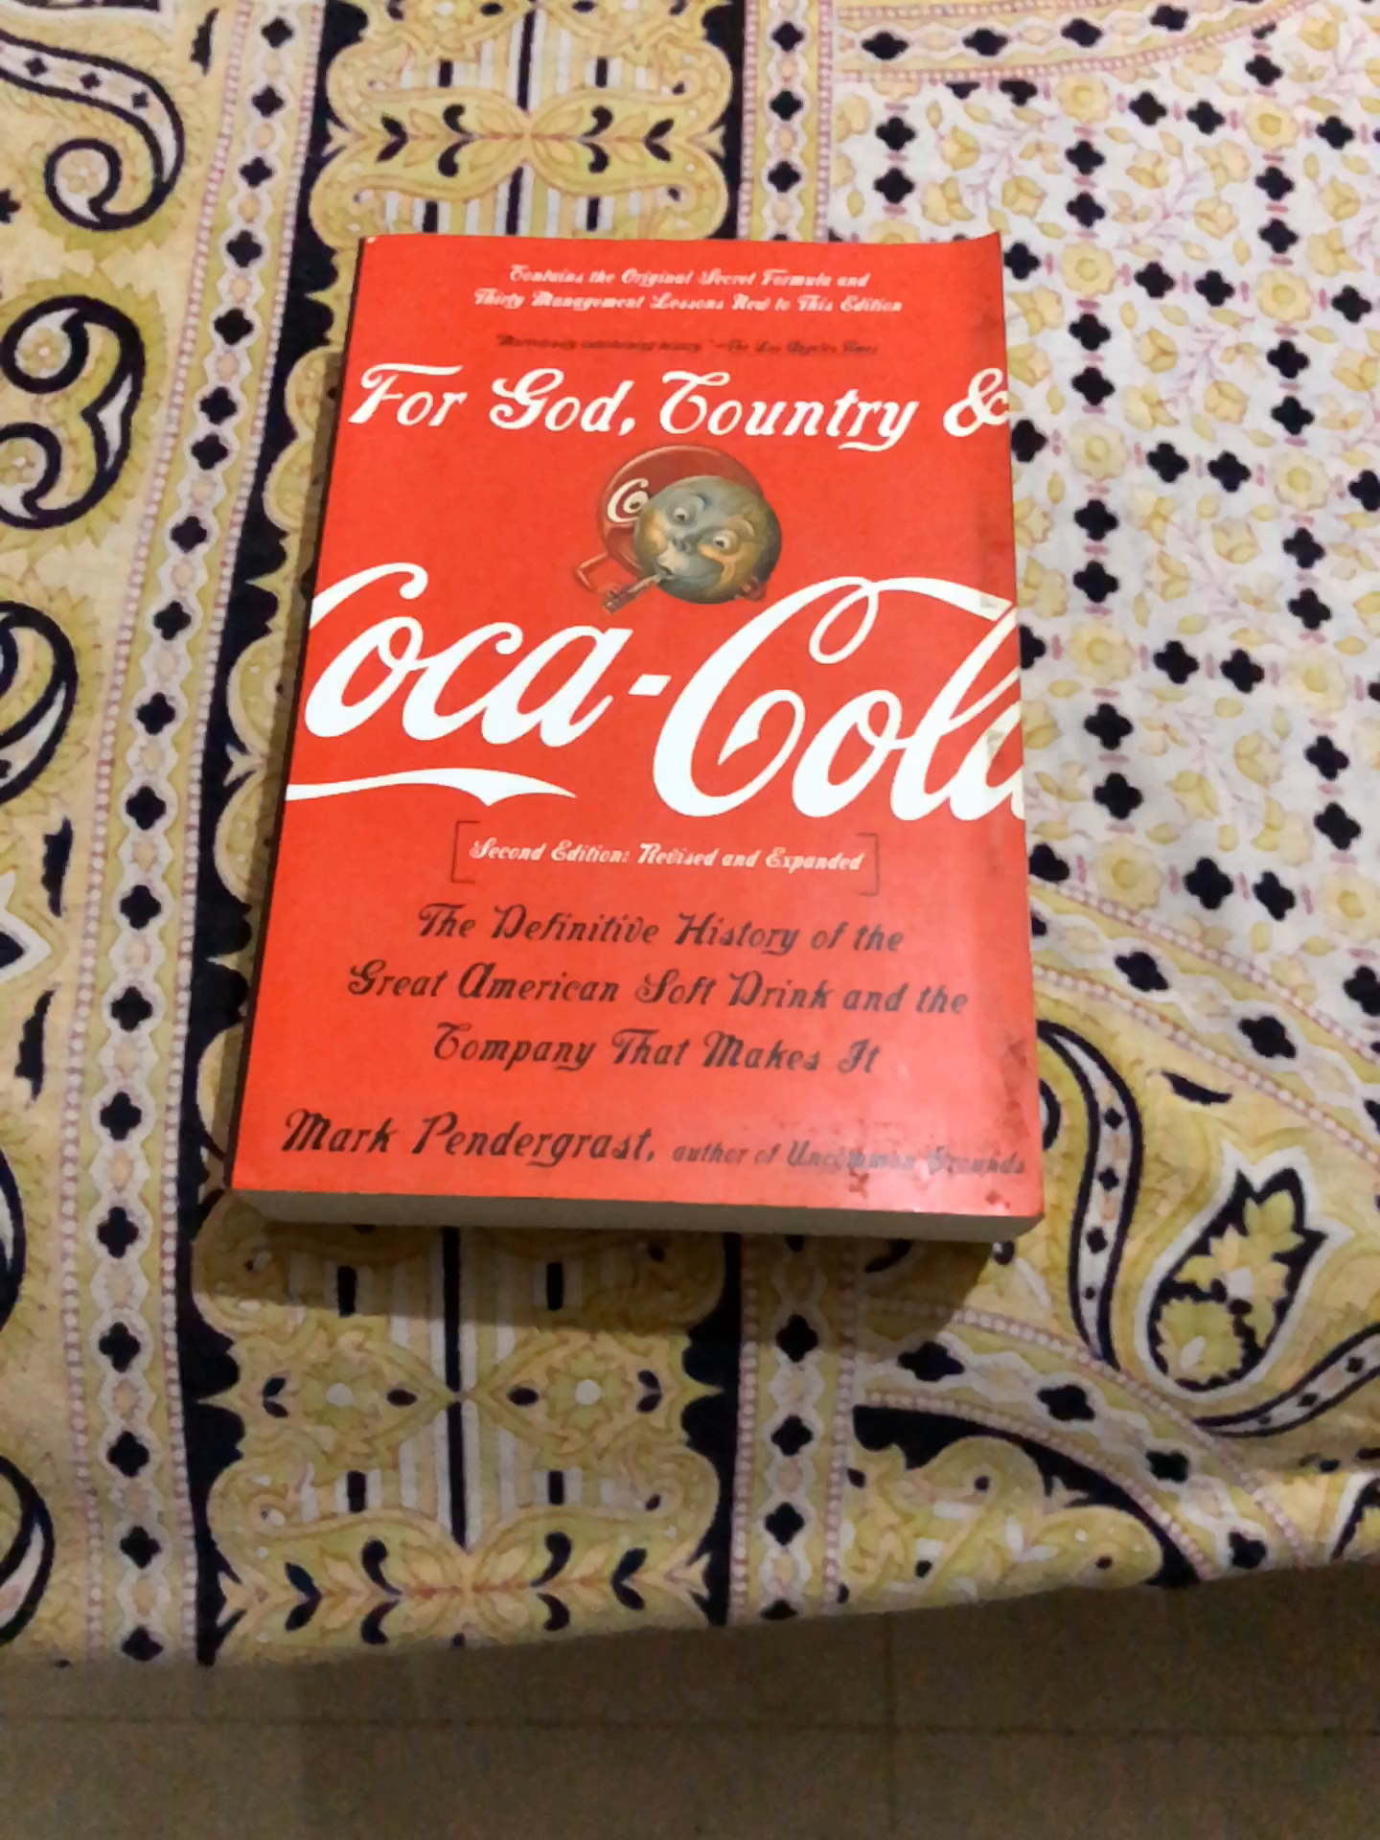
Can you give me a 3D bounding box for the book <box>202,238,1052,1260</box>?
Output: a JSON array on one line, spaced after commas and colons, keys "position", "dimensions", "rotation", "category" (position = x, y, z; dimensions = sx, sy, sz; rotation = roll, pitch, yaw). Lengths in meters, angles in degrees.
[{"position": [-0.009, -0.045, 0.352], "dimensions": [0.160, 0.050, 0.230], "rotation": [1, 70, 1], "category": "book"}]
